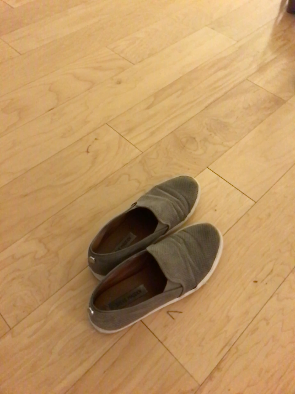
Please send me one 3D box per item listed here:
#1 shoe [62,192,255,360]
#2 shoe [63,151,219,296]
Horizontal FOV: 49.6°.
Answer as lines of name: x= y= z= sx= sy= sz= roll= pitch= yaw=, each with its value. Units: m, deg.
shoe: x=0.024 y=0.119 z=0.526 sx=0.291 sy=0.080 sz=0.110 roll=-30 pitch=61 yaw=-20
shoe: x=-0.003 y=0.037 z=0.572 sx=0.271 sy=0.070 sz=0.100 roll=-38 pitch=64 yaw=-24
